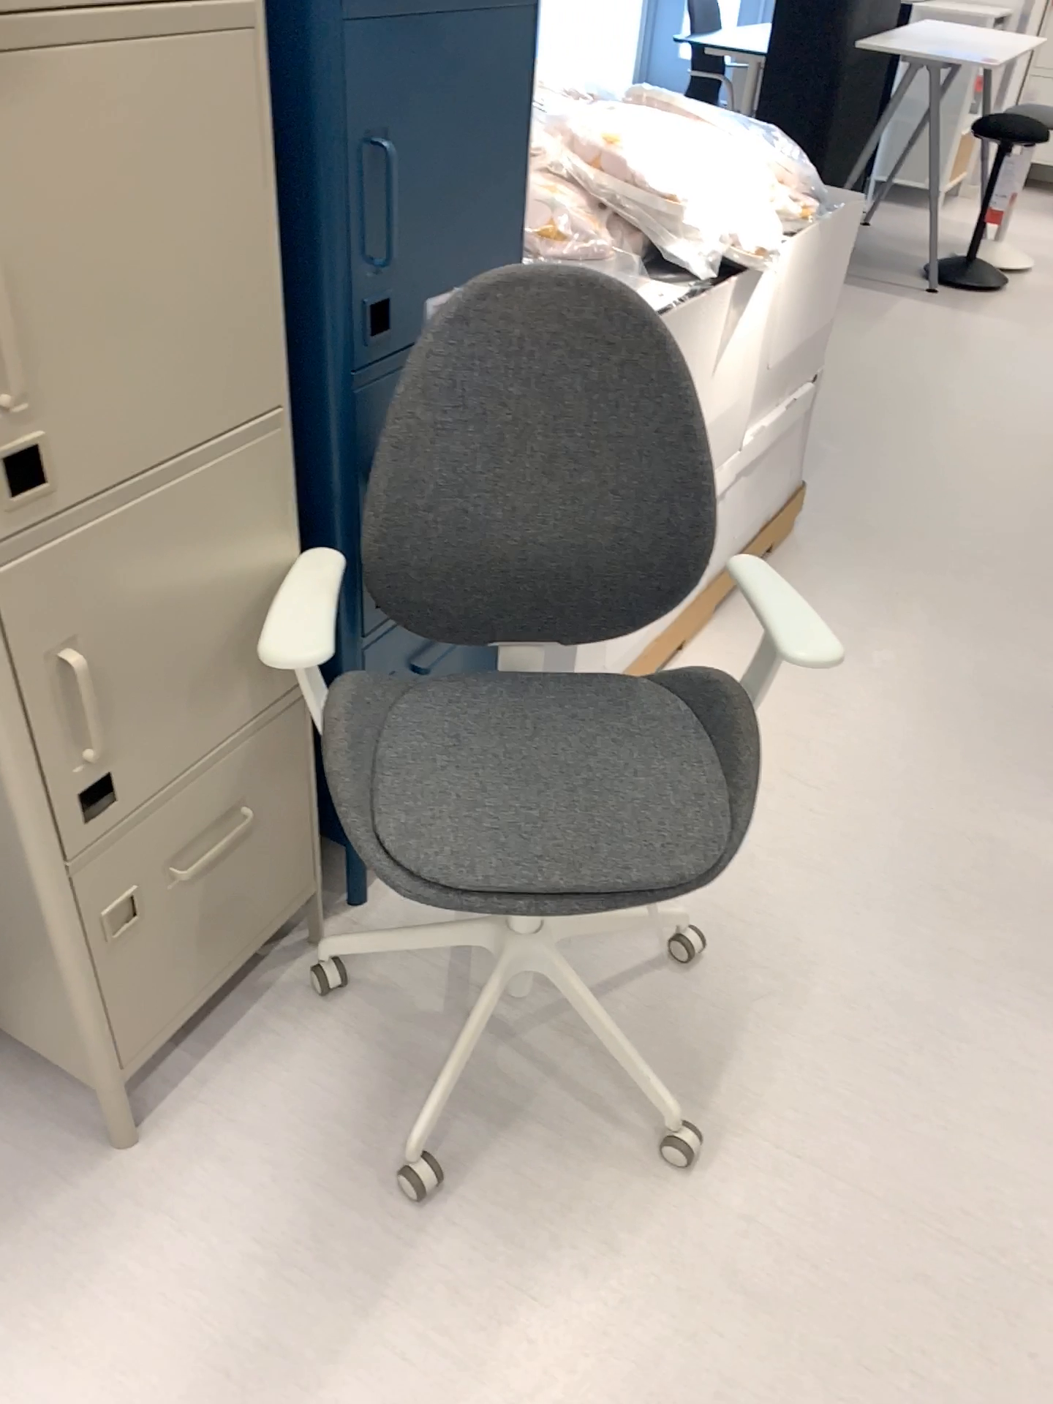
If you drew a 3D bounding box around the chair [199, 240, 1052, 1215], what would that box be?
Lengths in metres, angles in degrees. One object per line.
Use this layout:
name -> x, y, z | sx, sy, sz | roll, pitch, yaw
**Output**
chair -> 0.025, 0.048, 1.355 | 0.650, 0.996, 0.673 | 0, 38, -7
